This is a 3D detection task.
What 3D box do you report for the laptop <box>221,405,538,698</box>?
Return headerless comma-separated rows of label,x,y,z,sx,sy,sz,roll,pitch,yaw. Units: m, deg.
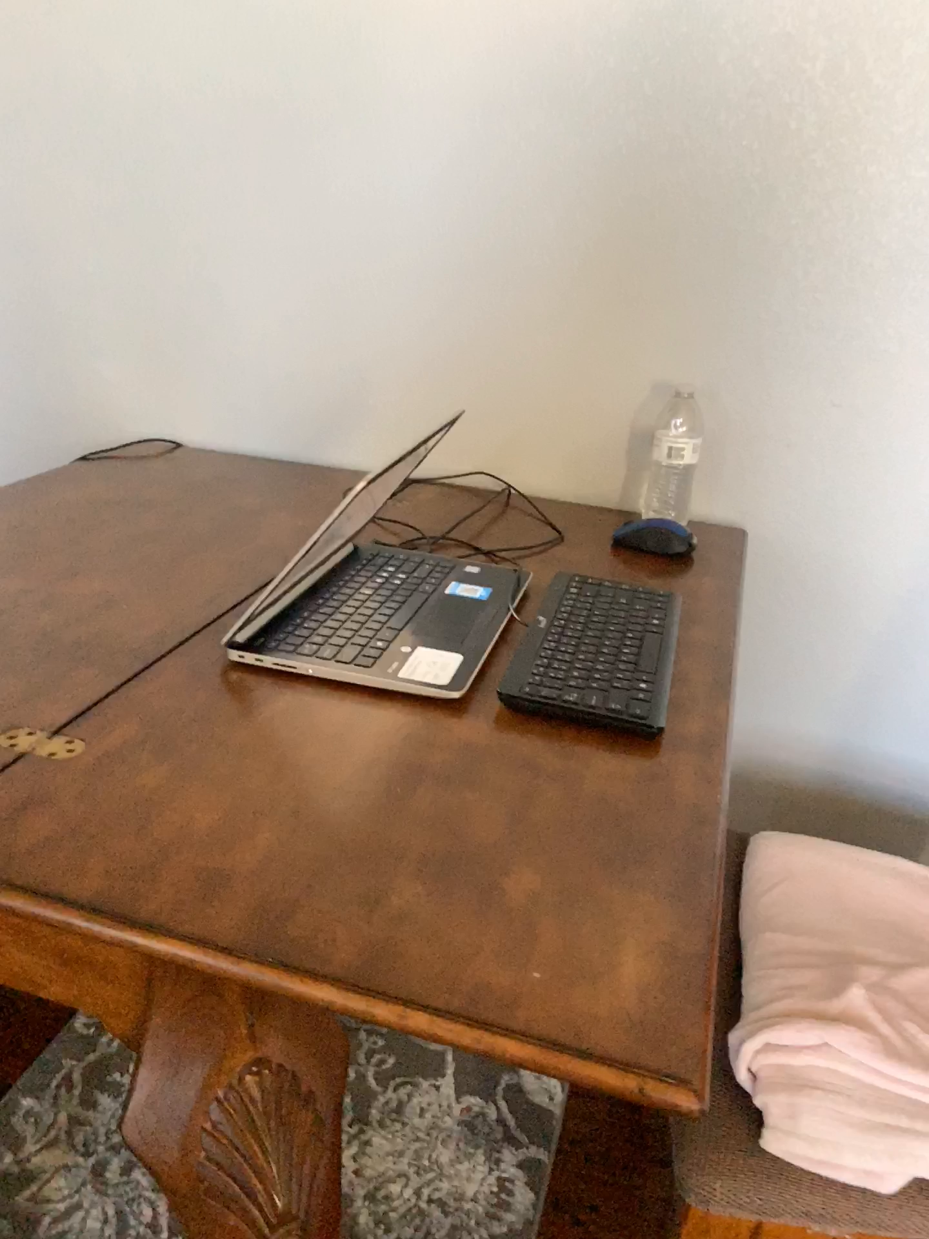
laptop,-0.063,-0.084,0.897,0.198,0.157,0.304,11,23,12
